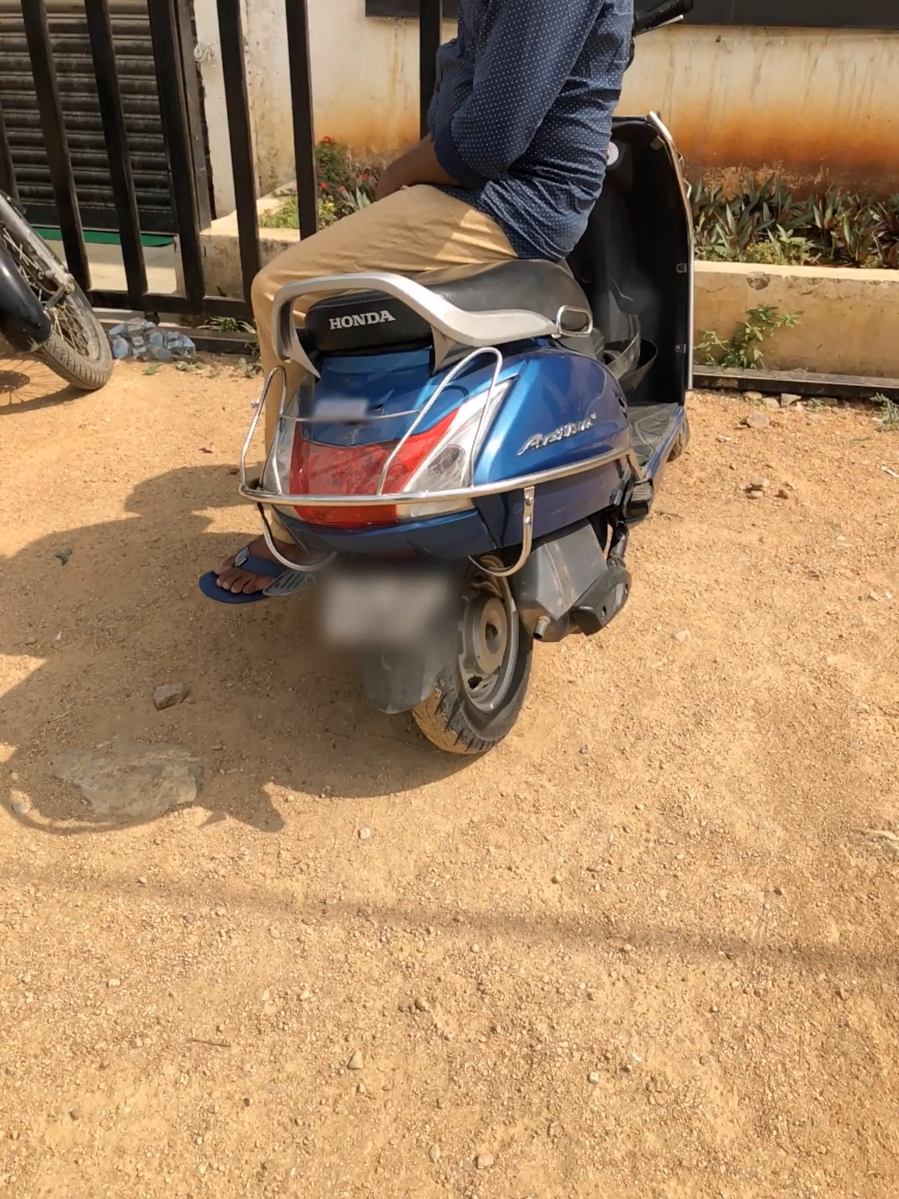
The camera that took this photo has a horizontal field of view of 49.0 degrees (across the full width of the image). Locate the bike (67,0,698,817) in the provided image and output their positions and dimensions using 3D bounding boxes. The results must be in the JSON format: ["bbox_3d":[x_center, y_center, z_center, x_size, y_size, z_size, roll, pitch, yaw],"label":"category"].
[{"bbox_3d":[0.045,-0.616,1.981,0.621,1.114,1.559,9,33,14],"label":"bike"}]
